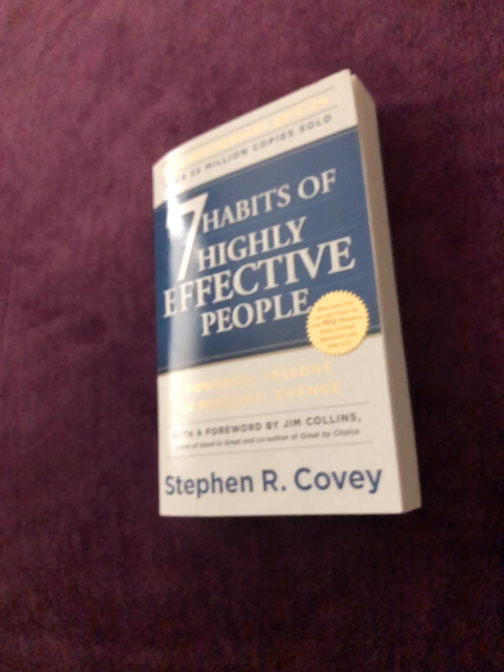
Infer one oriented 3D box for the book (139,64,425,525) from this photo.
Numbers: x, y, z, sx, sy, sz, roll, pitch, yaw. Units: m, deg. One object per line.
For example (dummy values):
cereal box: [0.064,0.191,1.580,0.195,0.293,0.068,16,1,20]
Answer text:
book: [0.003,-0.014,0.308,0.147,0.028,0.217,-11,75,32]
